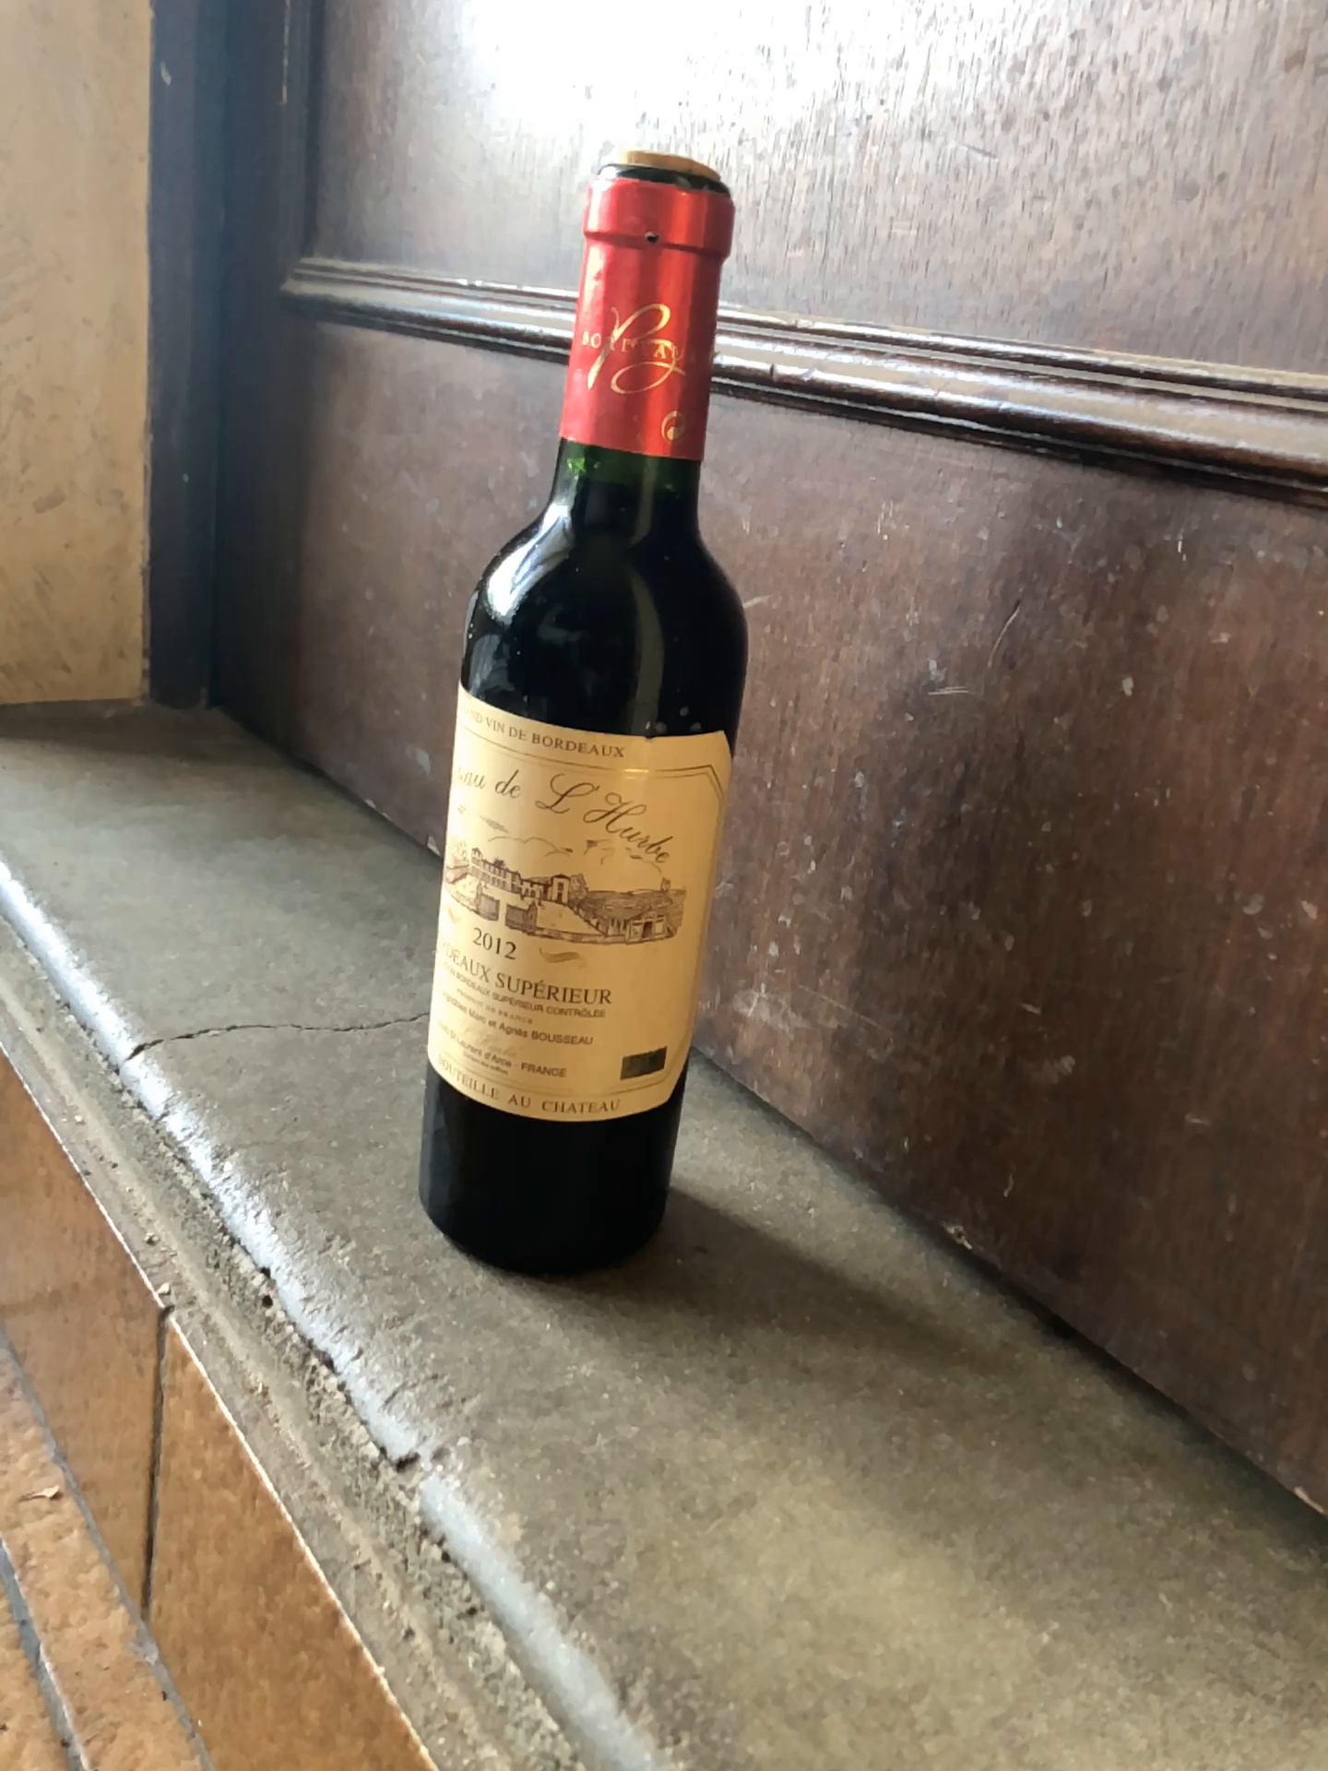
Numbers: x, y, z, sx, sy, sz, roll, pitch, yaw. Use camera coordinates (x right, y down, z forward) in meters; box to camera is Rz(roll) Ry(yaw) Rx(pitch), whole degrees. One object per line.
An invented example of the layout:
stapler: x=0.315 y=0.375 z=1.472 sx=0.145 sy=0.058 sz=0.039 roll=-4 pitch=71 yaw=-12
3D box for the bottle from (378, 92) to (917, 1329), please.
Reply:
bottle: x=-0.008 y=-0.031 z=0.319 sx=0.070 sy=0.239 sz=0.060 roll=14 pitch=21 yaw=17
